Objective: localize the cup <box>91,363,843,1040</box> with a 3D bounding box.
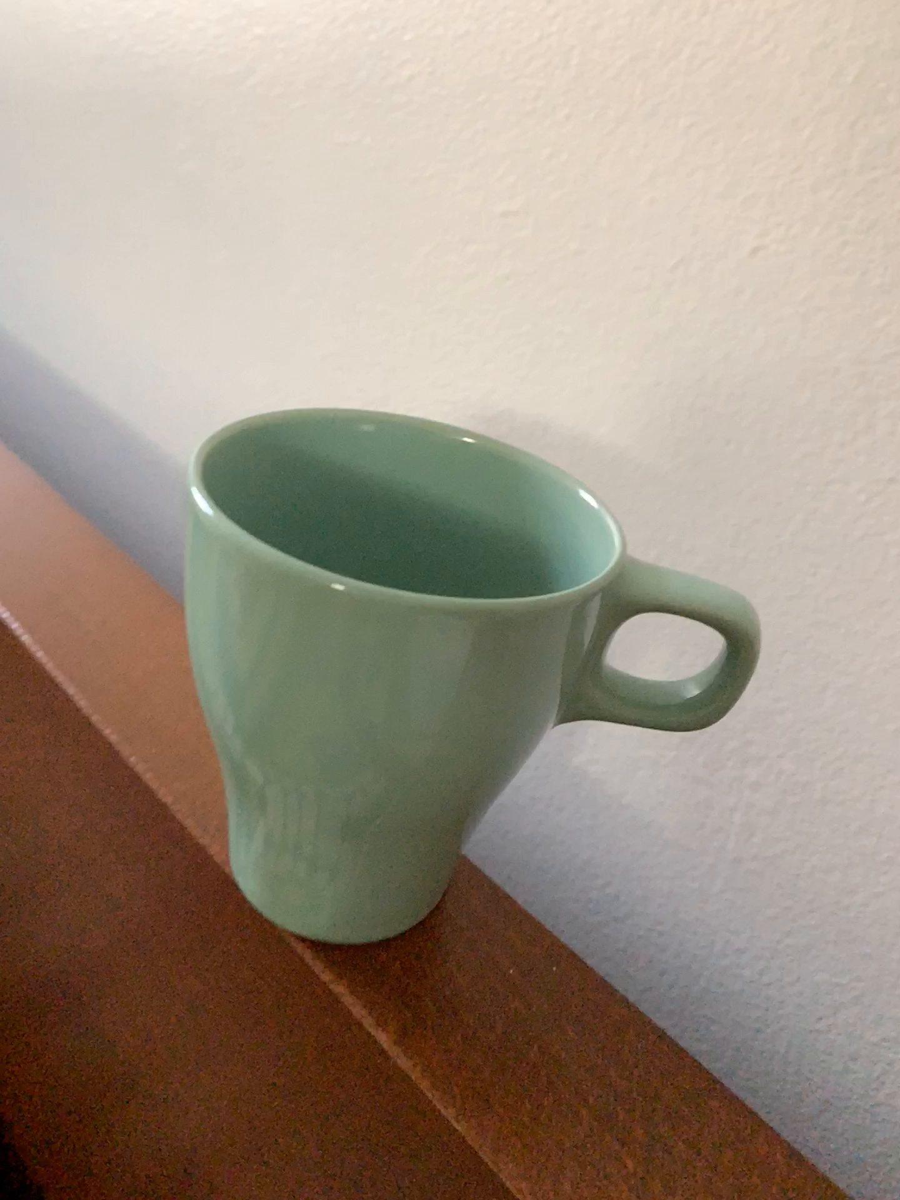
[{"bbox_3d":[-0.001,0.019,0.209,0.122,0.091,0.082,14,32,0],"label":"cup"}]
